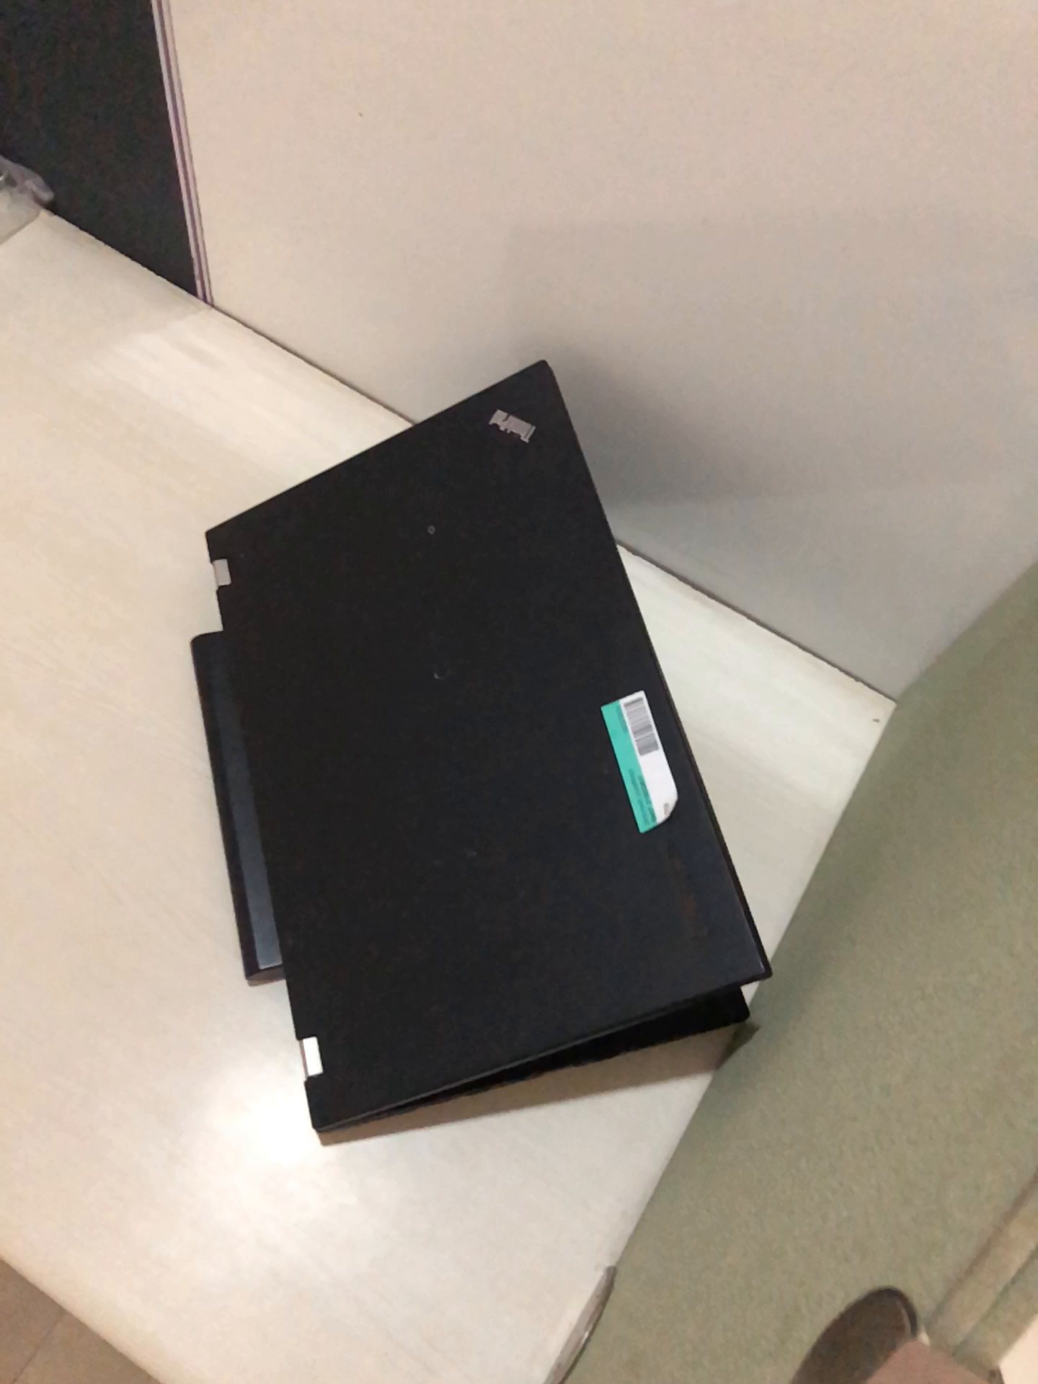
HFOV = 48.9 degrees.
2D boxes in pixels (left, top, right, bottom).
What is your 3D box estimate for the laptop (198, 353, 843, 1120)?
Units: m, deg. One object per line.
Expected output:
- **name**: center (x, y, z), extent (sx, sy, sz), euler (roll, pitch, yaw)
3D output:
- **laptop**: center (-0.024, 0.012, 0.619), extent (0.232, 0.140, 0.355), euler (-11, 64, -11)
